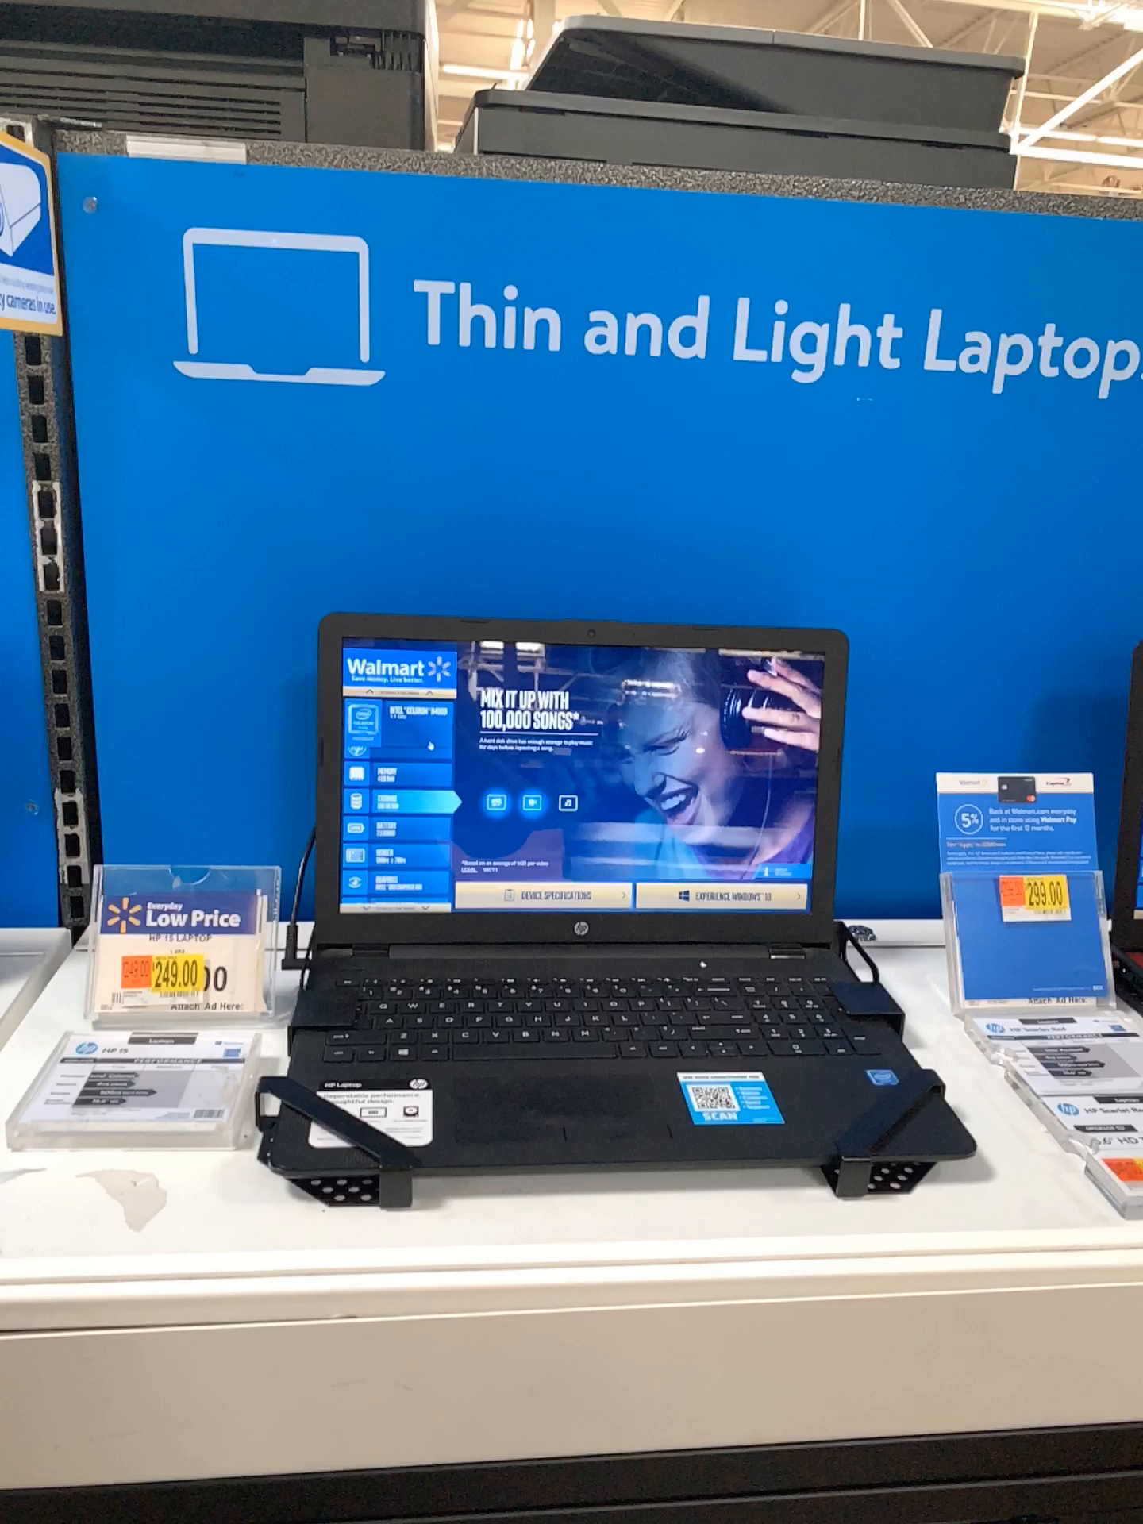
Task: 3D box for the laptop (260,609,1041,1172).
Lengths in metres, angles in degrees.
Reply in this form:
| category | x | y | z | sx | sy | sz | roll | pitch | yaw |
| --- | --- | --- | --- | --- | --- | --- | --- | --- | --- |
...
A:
| category | x | y | z | sx | sy | sz | roll | pitch | yaw |
| --- | --- | --- | --- | --- | --- | --- | --- | --- | --- |
| laptop | 0.021 | 0.052 | 0.701 | 0.363 | 0.225 | 0.287 | 1 | 17 | -7 |
